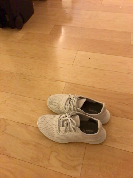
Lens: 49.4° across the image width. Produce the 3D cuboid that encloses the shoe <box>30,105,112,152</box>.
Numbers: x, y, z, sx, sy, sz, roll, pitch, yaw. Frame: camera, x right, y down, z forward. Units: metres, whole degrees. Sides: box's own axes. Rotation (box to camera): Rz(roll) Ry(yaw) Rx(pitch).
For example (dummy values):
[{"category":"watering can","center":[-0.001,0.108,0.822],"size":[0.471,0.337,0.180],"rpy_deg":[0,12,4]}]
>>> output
[{"category":"shoe","center":[0.022,0.148,0.553],"size":[0.280,0.080,0.111],"rpy_deg":[7,53,9]}]

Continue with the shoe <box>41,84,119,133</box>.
[{"category":"shoe","center":[0.055,0.075,0.602],"size":[0.290,0.080,0.111],"rpy_deg":[13,54,13]}]
